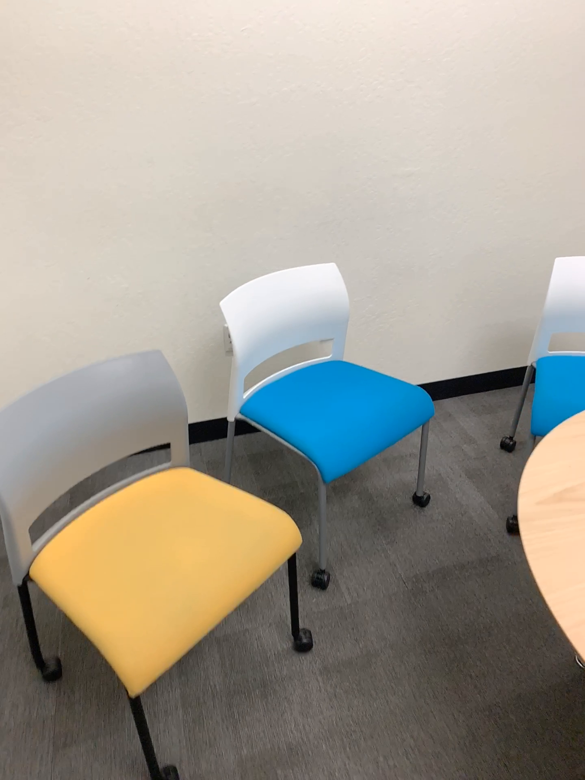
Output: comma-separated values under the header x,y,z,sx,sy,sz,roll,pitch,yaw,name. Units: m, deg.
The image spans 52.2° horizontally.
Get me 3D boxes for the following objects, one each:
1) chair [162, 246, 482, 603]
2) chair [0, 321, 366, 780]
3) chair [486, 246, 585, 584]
x,y,z,sx,sy,sz,roll,pitch,yaw,name
0.084,0.050,1.949,0.641,0.755,0.693,-25,38,-33,chair
-0.304,0.358,1.437,0.693,0.716,0.641,23,39,35,chair
1.095,0.030,1.981,0.751,0.765,0.693,8,32,16,chair
